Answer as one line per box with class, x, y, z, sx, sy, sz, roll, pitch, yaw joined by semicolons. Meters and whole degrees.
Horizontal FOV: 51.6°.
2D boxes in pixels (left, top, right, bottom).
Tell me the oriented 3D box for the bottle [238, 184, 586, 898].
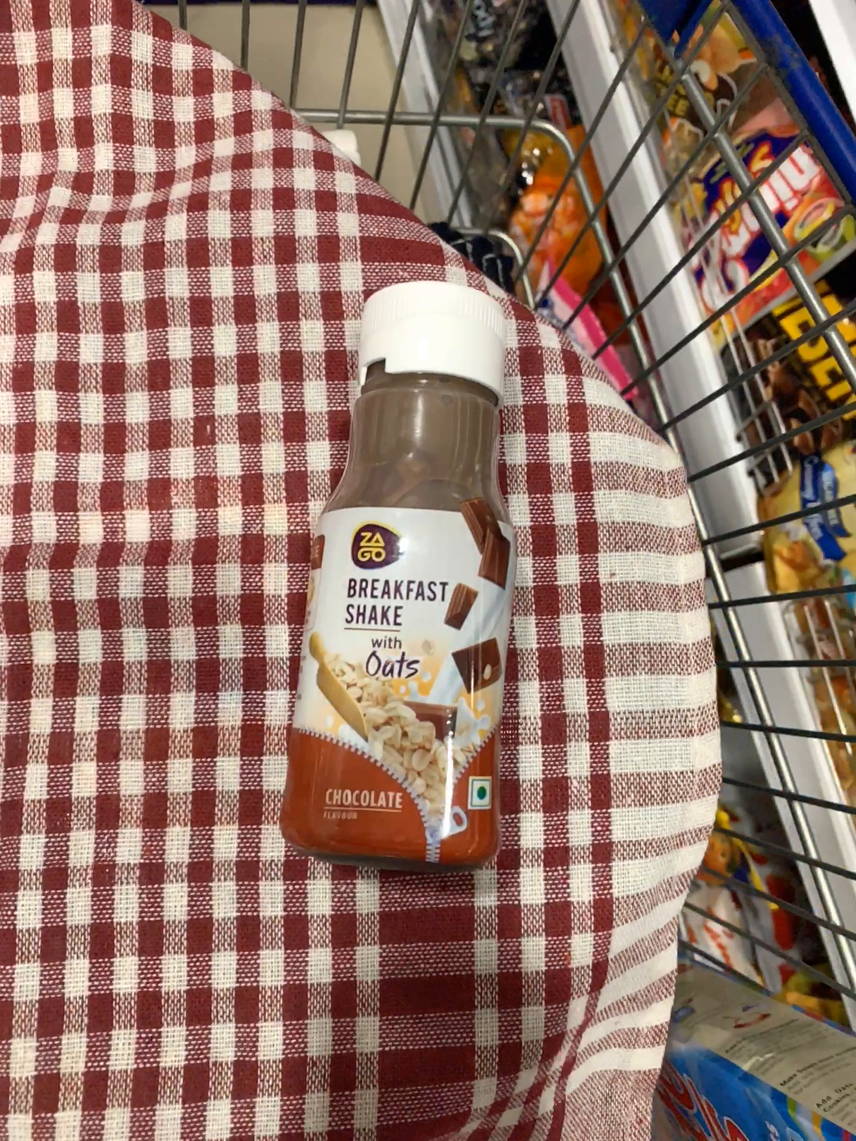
bottle;-0.002;-0.007;0.216;0.060;0.050;0.150;6;84;0
